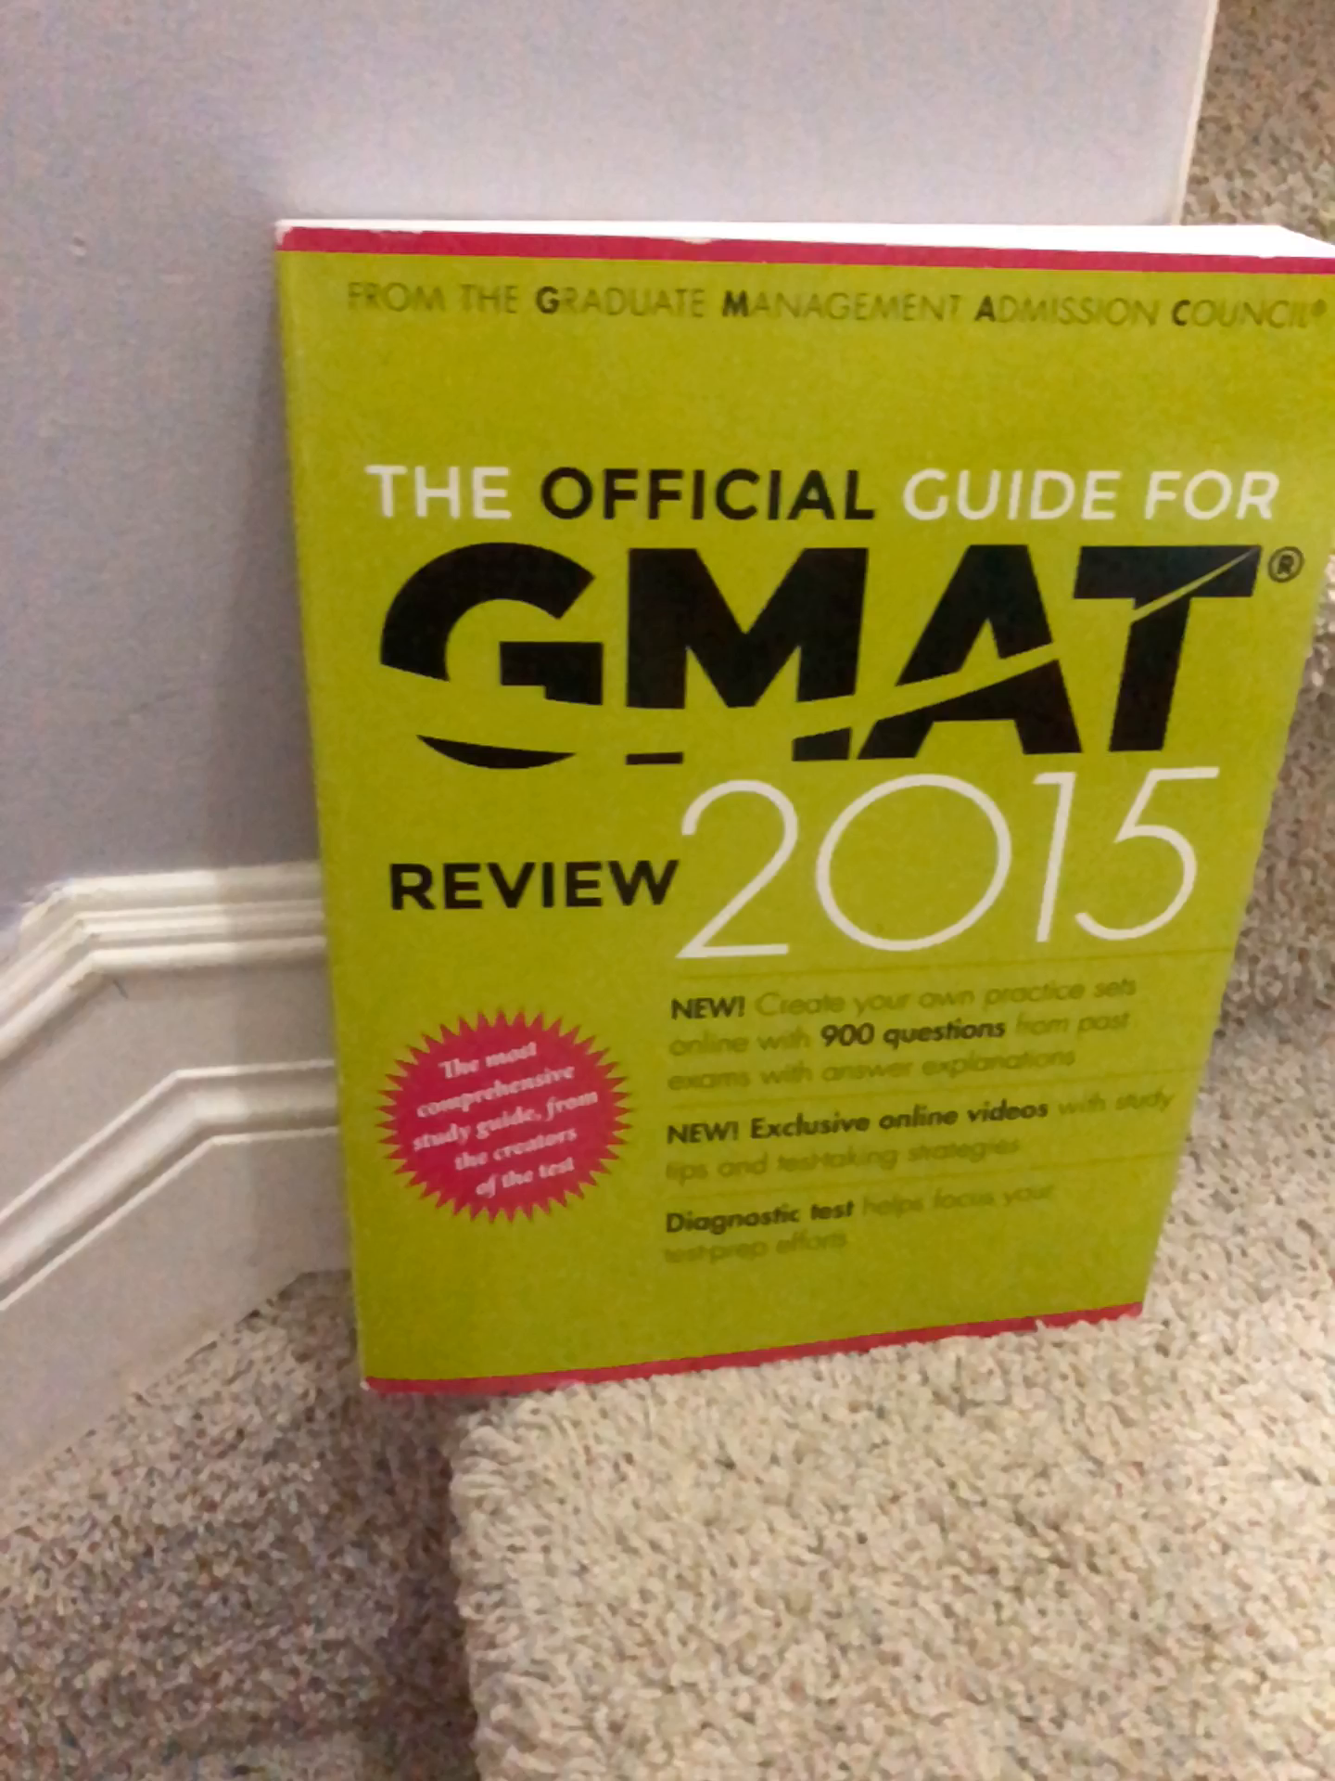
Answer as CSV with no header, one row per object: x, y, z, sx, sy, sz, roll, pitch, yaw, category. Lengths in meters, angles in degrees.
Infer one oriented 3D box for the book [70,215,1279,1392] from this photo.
0.004,-0.011,0.362,0.236,0.277,0.040,-4,26,-9,book
